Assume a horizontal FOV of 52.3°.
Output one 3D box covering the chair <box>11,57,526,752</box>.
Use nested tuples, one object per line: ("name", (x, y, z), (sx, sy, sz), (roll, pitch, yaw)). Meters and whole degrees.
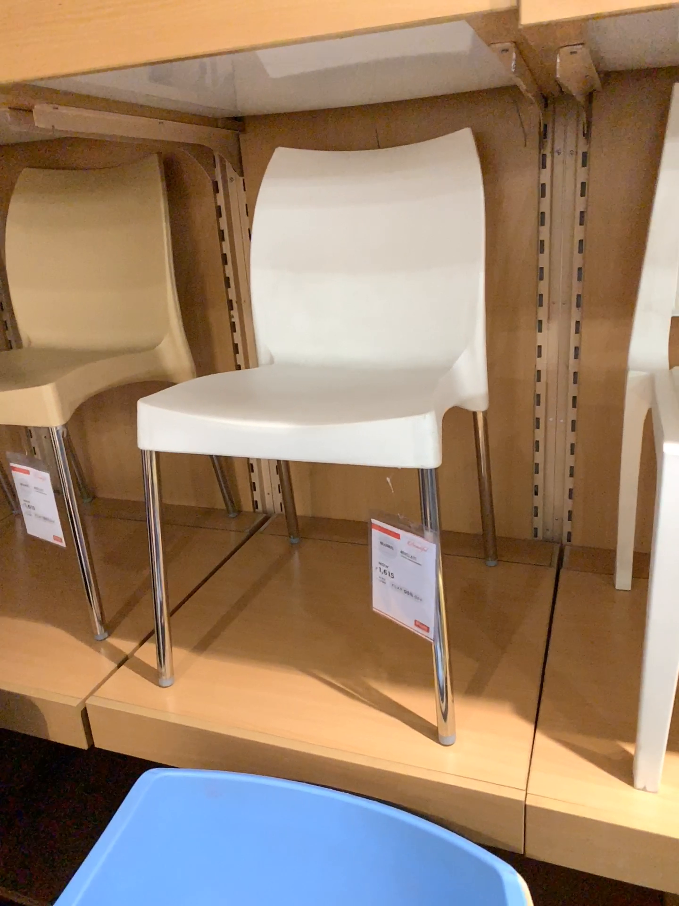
("chair", (-0.011, -0.120, 1.279), (0.610, 0.917, 0.682), (3, 21, 19))
